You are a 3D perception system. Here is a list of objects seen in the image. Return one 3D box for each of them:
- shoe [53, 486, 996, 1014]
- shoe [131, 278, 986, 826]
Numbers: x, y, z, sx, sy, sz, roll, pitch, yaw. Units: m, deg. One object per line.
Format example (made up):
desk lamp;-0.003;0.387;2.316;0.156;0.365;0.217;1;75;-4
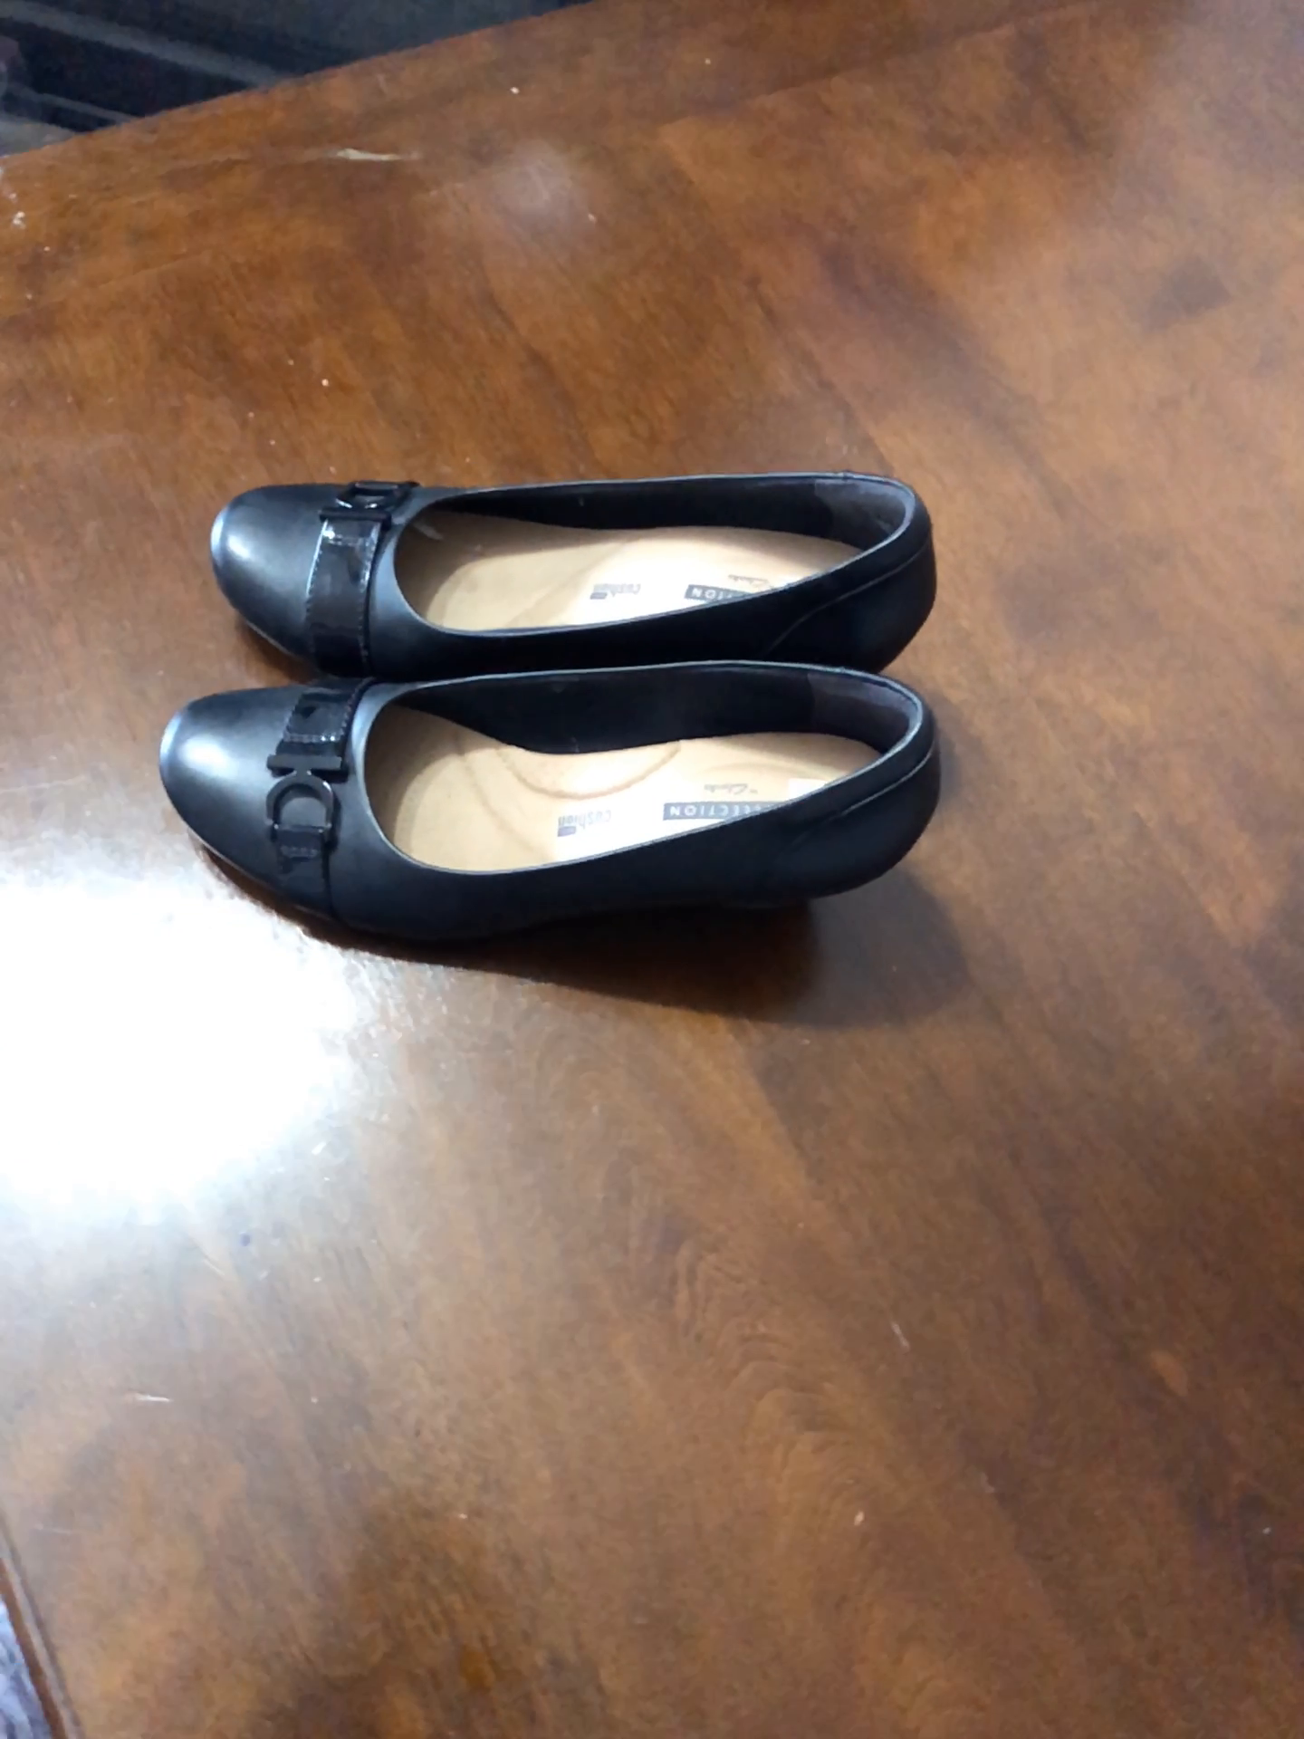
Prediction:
shoe;-0.033;-0.030;0.451;0.250;0.110;0.090;7;65;-4
shoe;-0.028;-0.101;0.493;0.250;0.110;0.090;10;65;-3
